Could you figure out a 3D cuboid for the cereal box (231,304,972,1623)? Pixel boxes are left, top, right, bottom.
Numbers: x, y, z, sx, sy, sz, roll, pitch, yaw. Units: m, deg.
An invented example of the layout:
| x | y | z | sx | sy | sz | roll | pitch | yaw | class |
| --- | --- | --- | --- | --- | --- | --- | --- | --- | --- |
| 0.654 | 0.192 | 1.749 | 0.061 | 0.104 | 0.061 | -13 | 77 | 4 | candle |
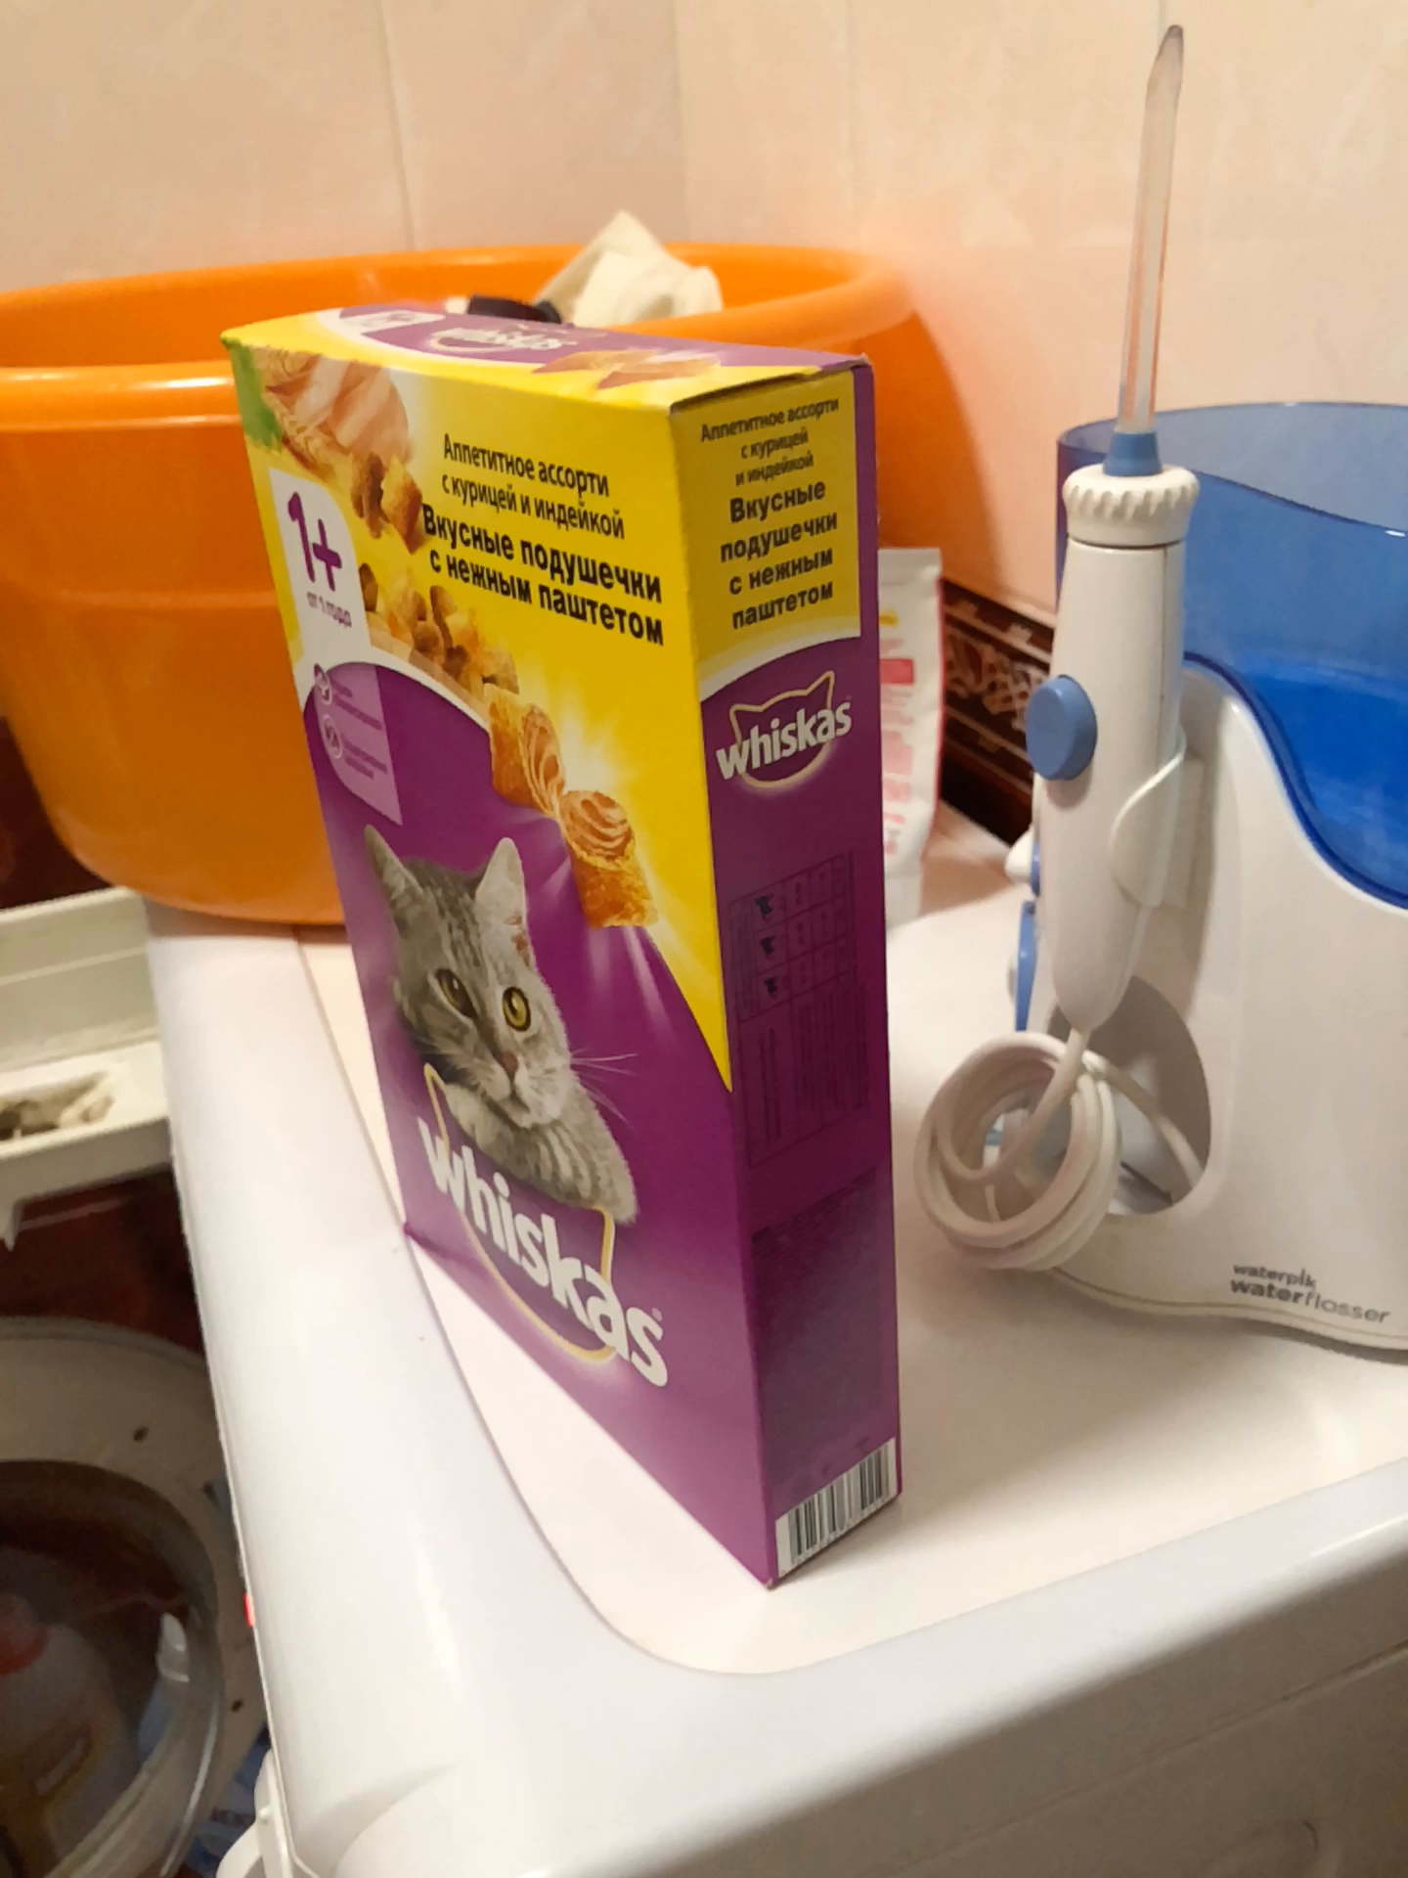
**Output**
| x | y | z | sx | sy | sz | roll | pitch | yaw | class |
| --- | --- | --- | --- | --- | --- | --- | --- | --- | --- |
| -0.018 | -0.001 | 0.304 | 0.040 | 0.218 | 0.151 | -24 | 33 | -31 | cereal box |
